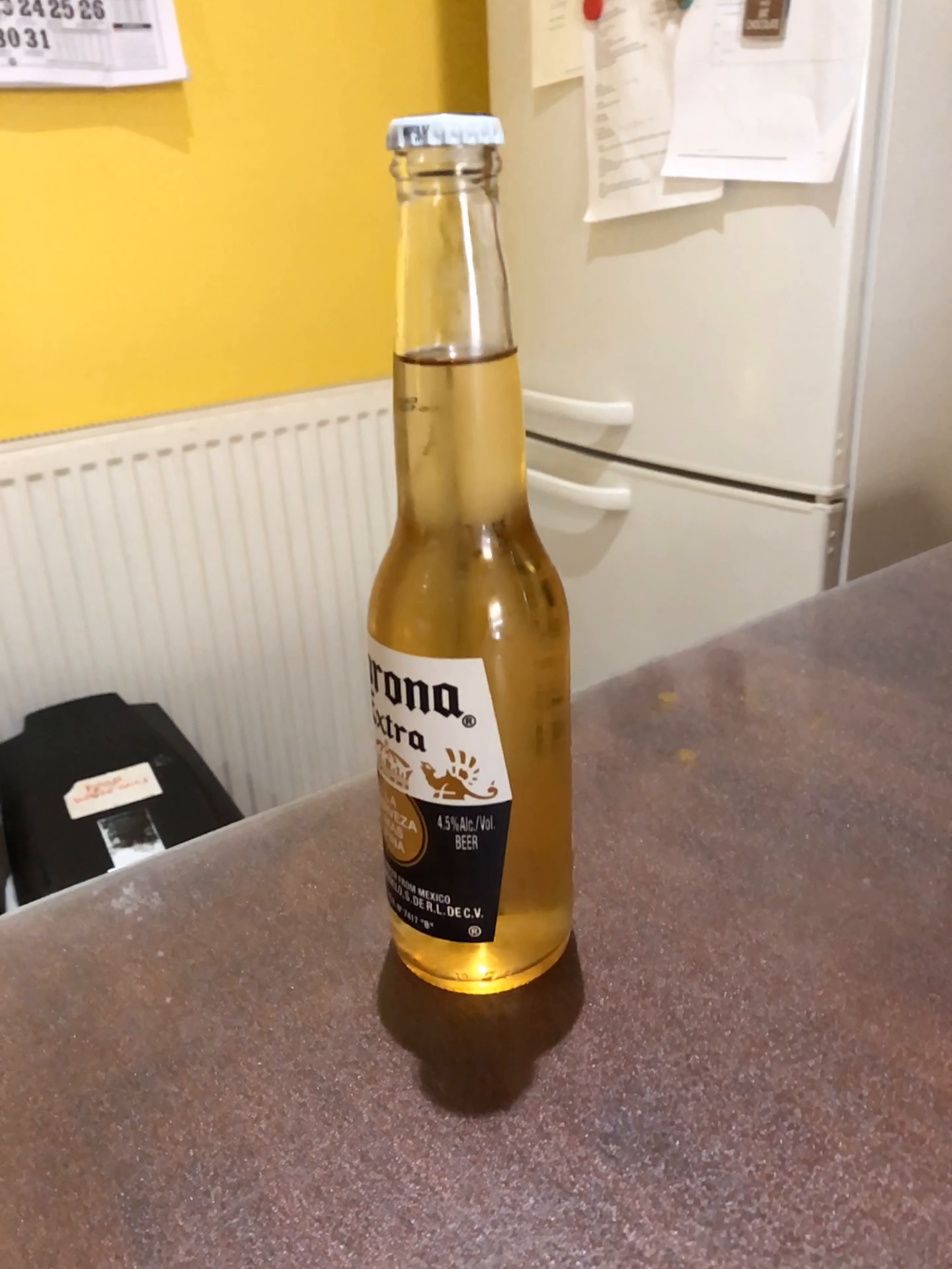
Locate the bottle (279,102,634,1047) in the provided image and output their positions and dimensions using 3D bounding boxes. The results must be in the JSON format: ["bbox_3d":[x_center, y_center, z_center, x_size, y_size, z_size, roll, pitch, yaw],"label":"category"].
[{"bbox_3d":[0.000,-0.010,0.289,0.060,0.238,0.060,-3,22,1],"label":"bottle"}]
